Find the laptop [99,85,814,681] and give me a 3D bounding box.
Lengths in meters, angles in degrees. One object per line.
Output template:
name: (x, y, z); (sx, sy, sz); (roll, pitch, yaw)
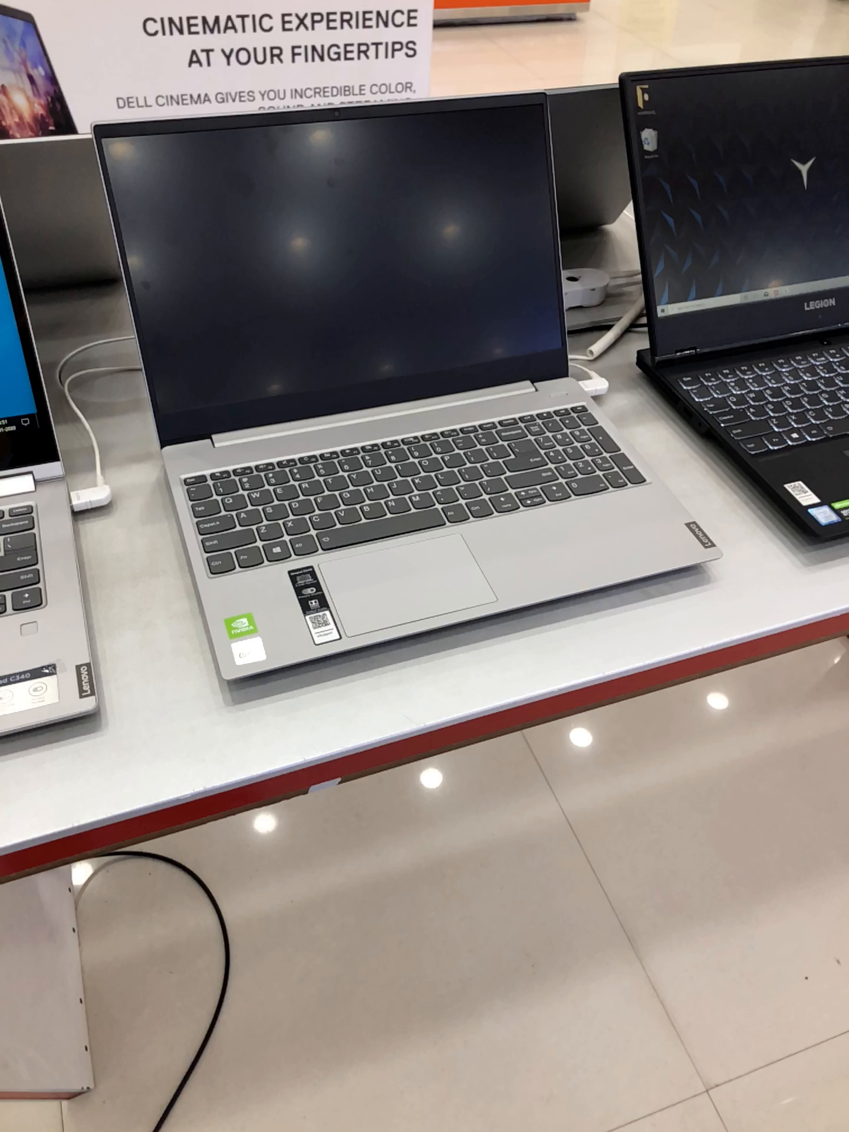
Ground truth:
laptop: (-0.010, -0.158, 0.644); (0.342, 0.196, 0.346); (-13, 46, -17)
